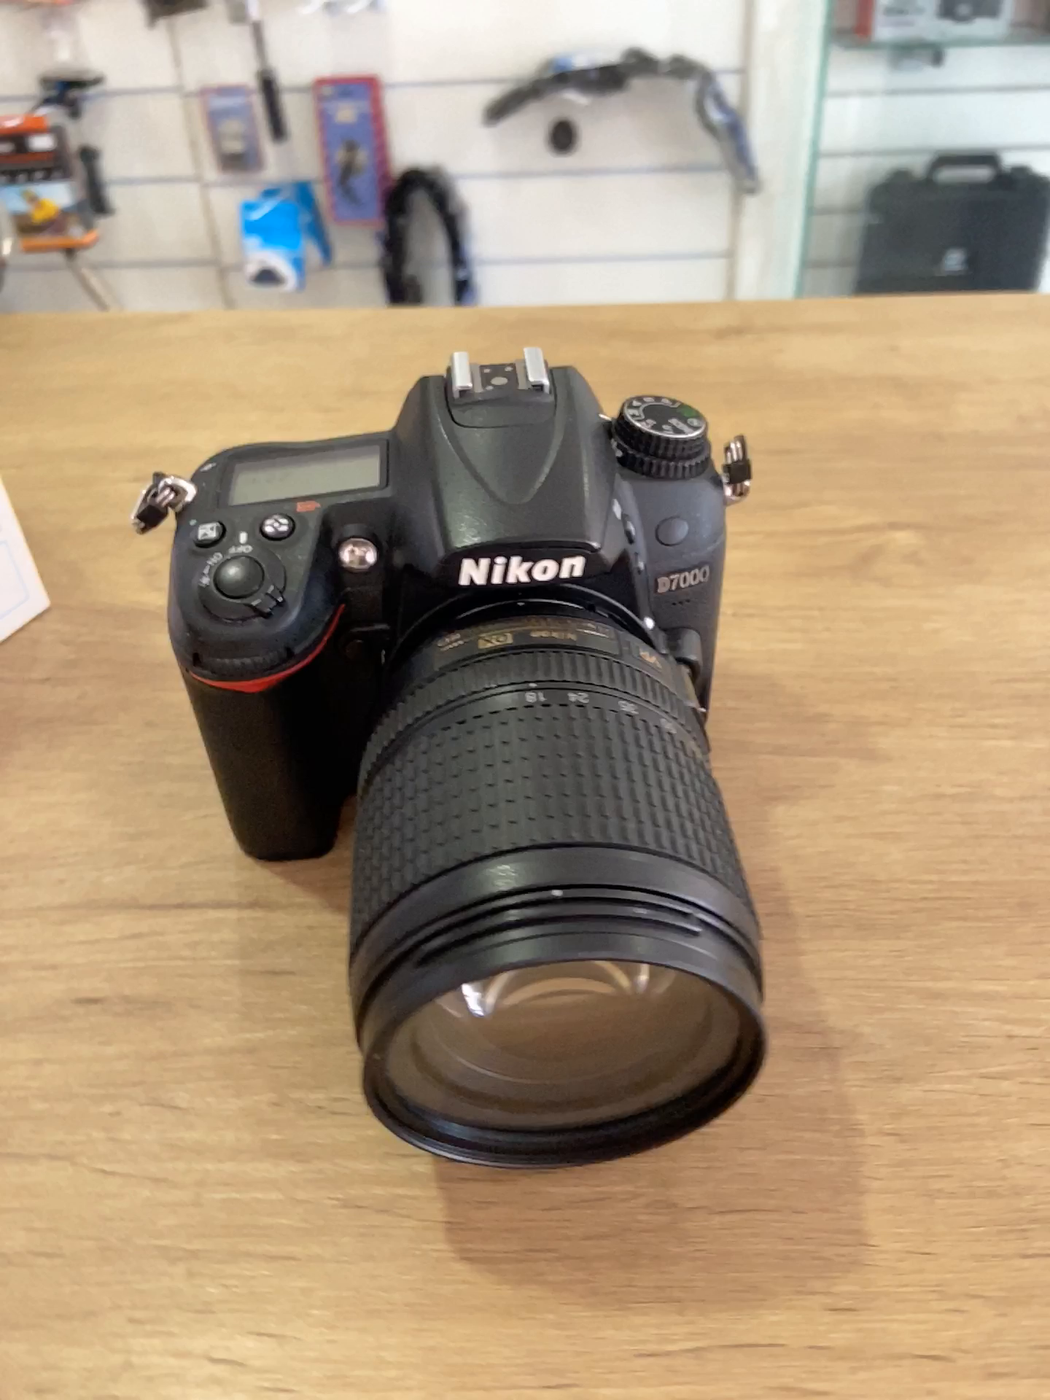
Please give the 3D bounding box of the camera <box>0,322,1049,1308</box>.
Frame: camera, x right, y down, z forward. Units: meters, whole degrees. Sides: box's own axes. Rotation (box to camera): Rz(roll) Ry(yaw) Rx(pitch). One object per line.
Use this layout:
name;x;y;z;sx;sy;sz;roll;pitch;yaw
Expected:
camera;-0.011;0.008;0.227;0.140;0.099;0.161;-8;39;-4
